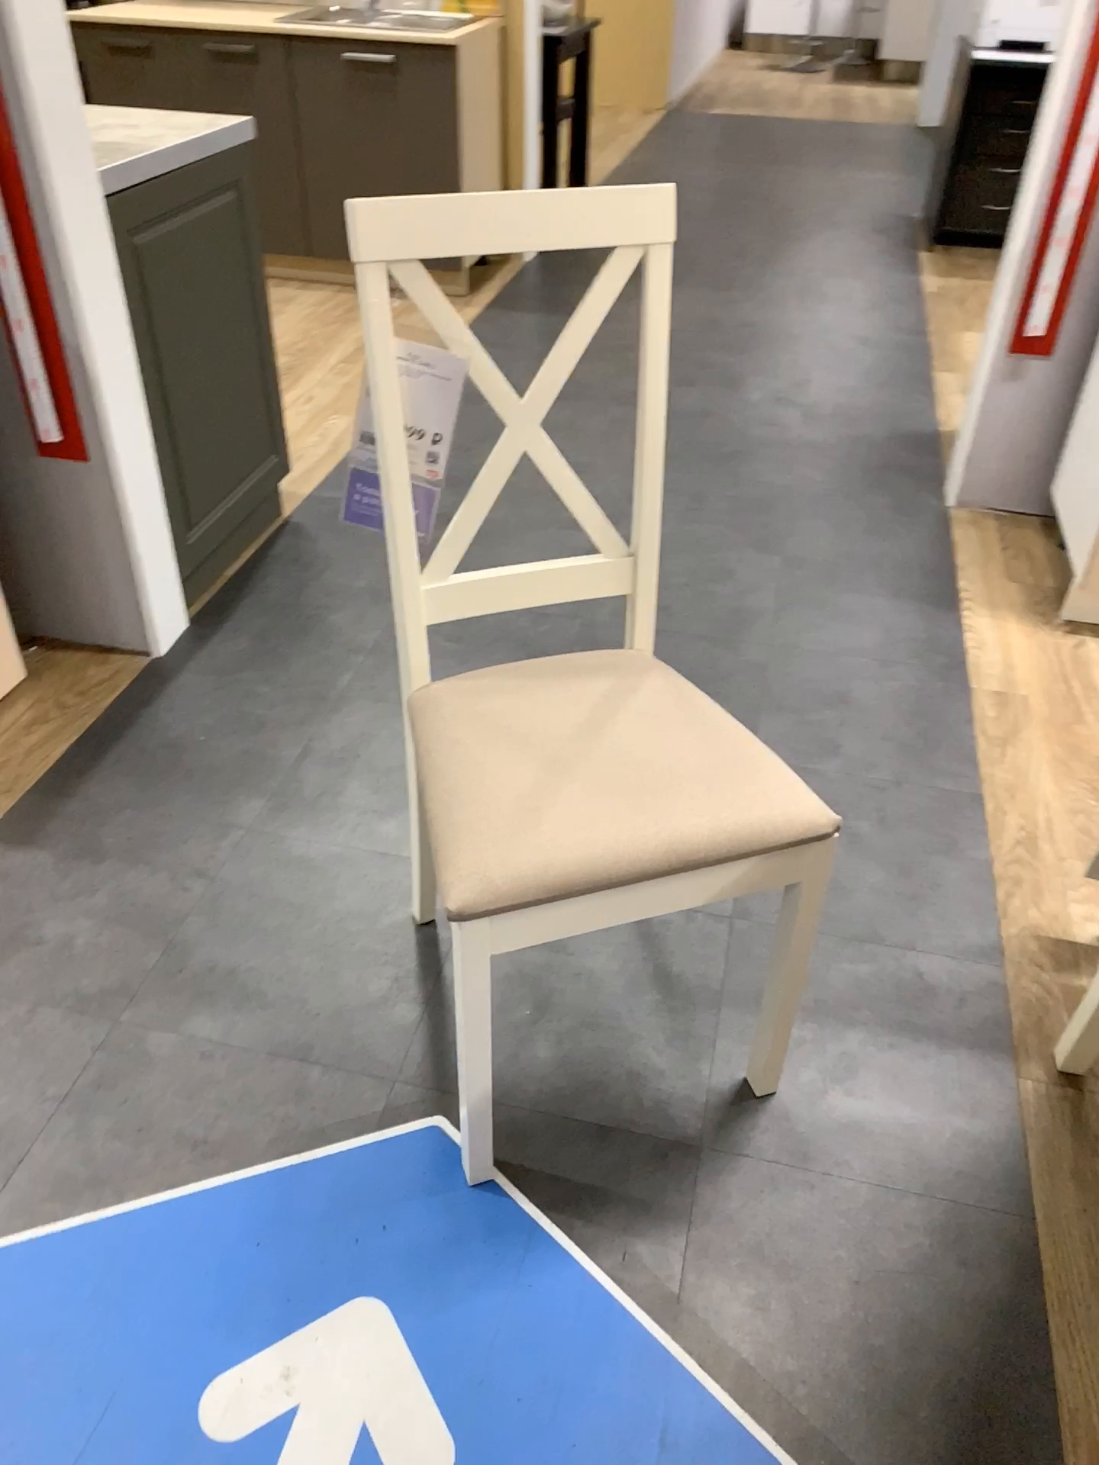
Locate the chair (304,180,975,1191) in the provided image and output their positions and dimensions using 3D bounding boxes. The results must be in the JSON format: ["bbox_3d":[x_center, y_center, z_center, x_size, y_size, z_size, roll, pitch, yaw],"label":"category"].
[{"bbox_3d":[0.027,-0.038,1.307,0.435,0.989,0.530,-11,39,-16],"label":"chair"}]
